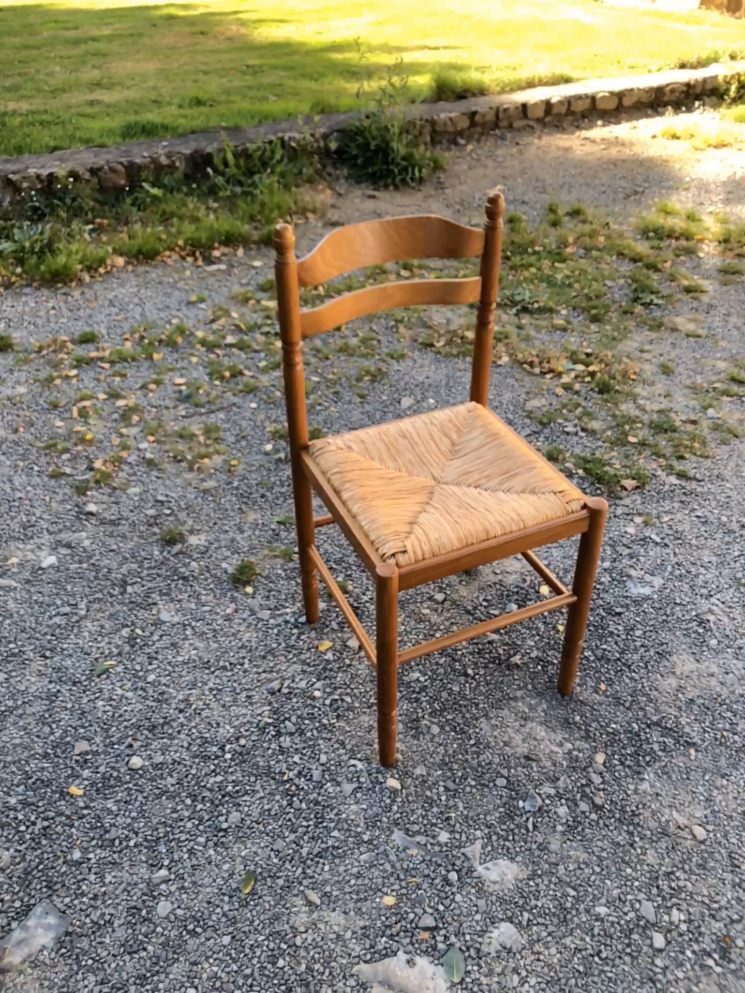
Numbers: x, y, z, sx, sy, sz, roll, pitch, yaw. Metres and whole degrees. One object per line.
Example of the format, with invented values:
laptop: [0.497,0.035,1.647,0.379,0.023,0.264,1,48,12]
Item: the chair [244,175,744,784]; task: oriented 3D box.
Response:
chair: [0.136,-0.045,1.339,0.511,0.735,0.522,-15,42,-21]
